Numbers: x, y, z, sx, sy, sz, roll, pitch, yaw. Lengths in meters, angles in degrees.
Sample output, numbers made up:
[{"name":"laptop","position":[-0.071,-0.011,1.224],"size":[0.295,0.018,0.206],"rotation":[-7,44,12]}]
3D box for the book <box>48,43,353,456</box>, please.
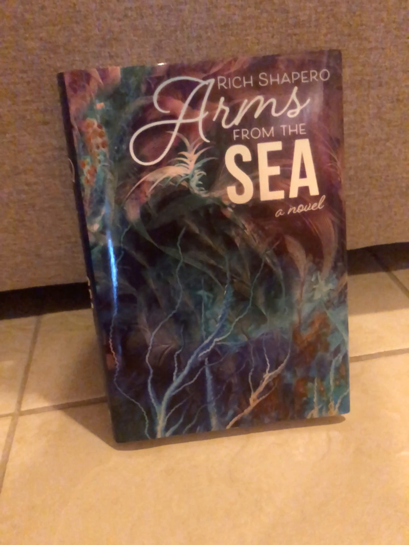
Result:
[{"name":"book","position":[0.006,-0.008,0.281],"size":[0.156,0.228,0.030],"rotation":[-7,13,-3]}]
